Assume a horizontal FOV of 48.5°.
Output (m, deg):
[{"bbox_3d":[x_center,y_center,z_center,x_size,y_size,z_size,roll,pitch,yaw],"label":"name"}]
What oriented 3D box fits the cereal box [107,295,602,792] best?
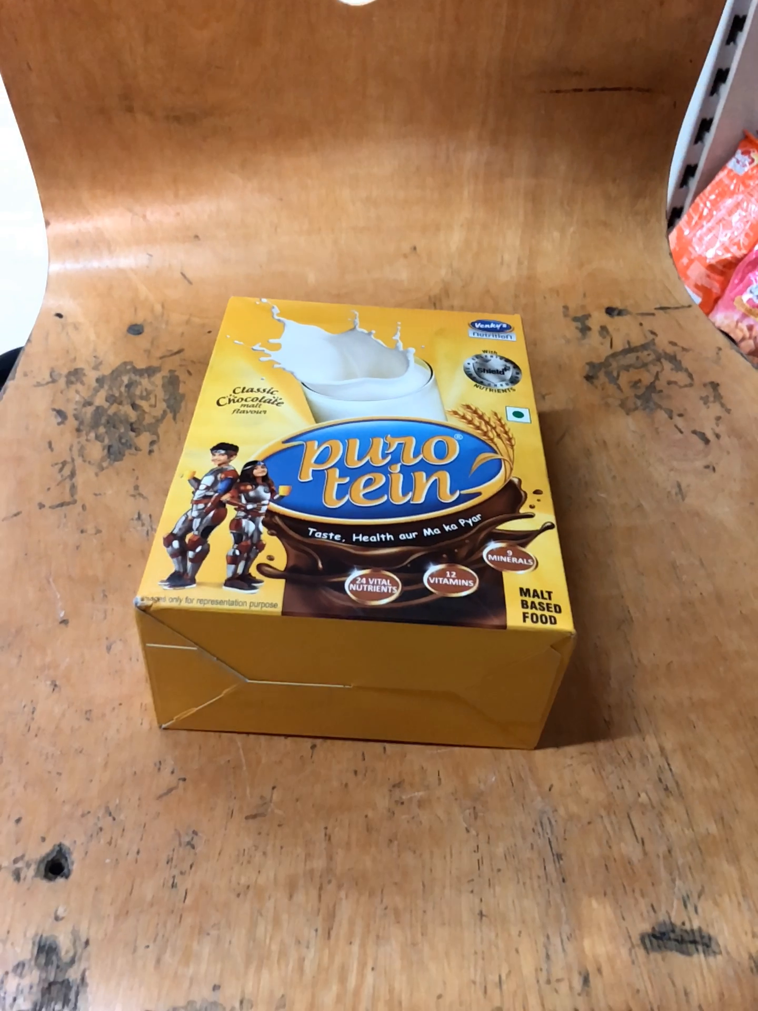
[{"bbox_3d":[-0.007,0.005,0.330,0.140,0.080,0.181,4,44,-2],"label":"cereal box"}]
